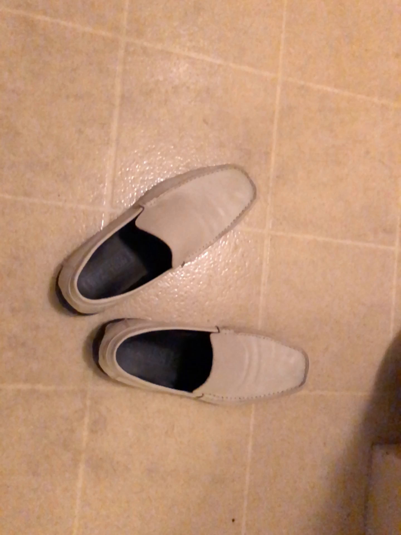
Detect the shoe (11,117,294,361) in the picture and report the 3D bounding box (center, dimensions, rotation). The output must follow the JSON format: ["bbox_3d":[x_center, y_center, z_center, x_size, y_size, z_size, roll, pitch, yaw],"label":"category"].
[{"bbox_3d":[-0.052,-0.038,0.528,0.307,0.097,0.110,-37,99,-14],"label":"shoe"}]

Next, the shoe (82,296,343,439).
[{"bbox_3d":[0.014,0.122,0.544,0.290,0.097,0.110,14,85,-16],"label":"shoe"}]
